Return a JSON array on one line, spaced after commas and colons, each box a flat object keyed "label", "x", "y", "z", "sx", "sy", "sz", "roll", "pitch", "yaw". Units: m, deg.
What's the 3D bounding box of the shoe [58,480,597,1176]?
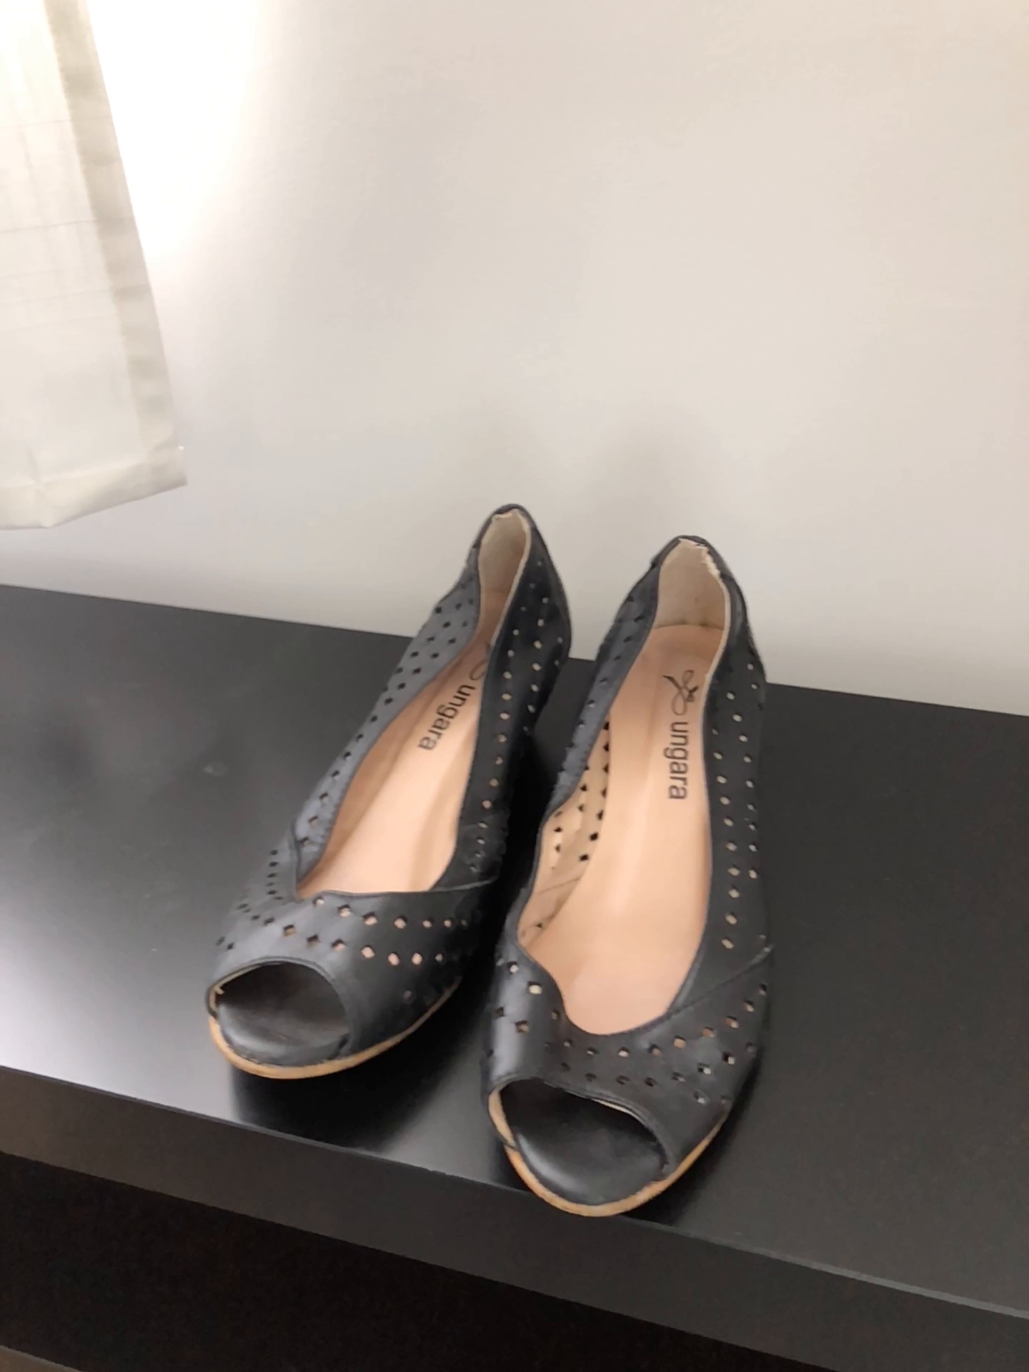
[{"label": "shoe", "x": -0.040, "y": 0.027, "z": 0.395, "sx": 0.085, "sy": 0.100, "sz": 0.231, "roll": 9, "pitch": 36, "yaw": 14}]

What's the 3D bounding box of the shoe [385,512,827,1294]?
[{"label": "shoe", "x": 0.042, "y": 0.044, "z": 0.354, "sx": 0.085, "sy": 0.100, "sz": 0.221, "roll": 8, "pitch": 36, "yaw": 13}]
